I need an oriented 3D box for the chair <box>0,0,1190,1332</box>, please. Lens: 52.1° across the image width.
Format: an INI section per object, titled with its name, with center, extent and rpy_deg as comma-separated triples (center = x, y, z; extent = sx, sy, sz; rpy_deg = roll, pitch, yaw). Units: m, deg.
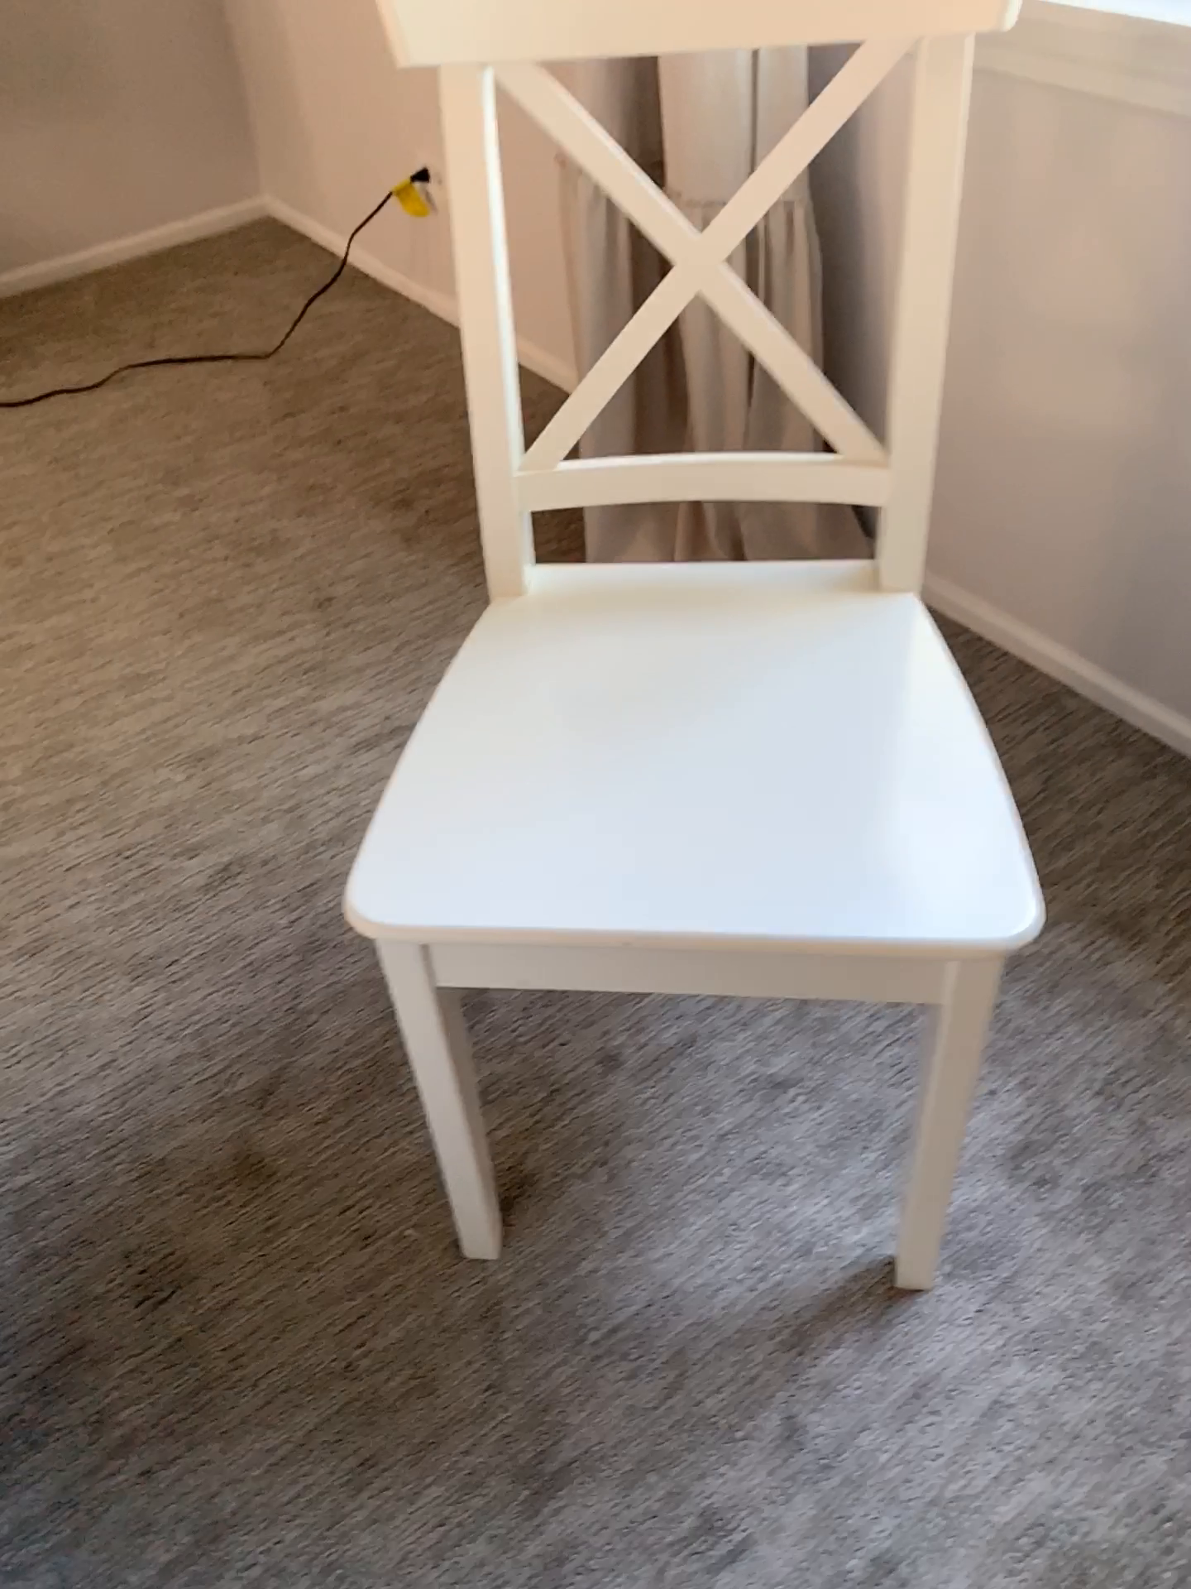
[chair]
center = 0.045, -0.103, 0.807
extent = 0.570, 0.855, 0.482
rpy_deg = 2, 43, 9
